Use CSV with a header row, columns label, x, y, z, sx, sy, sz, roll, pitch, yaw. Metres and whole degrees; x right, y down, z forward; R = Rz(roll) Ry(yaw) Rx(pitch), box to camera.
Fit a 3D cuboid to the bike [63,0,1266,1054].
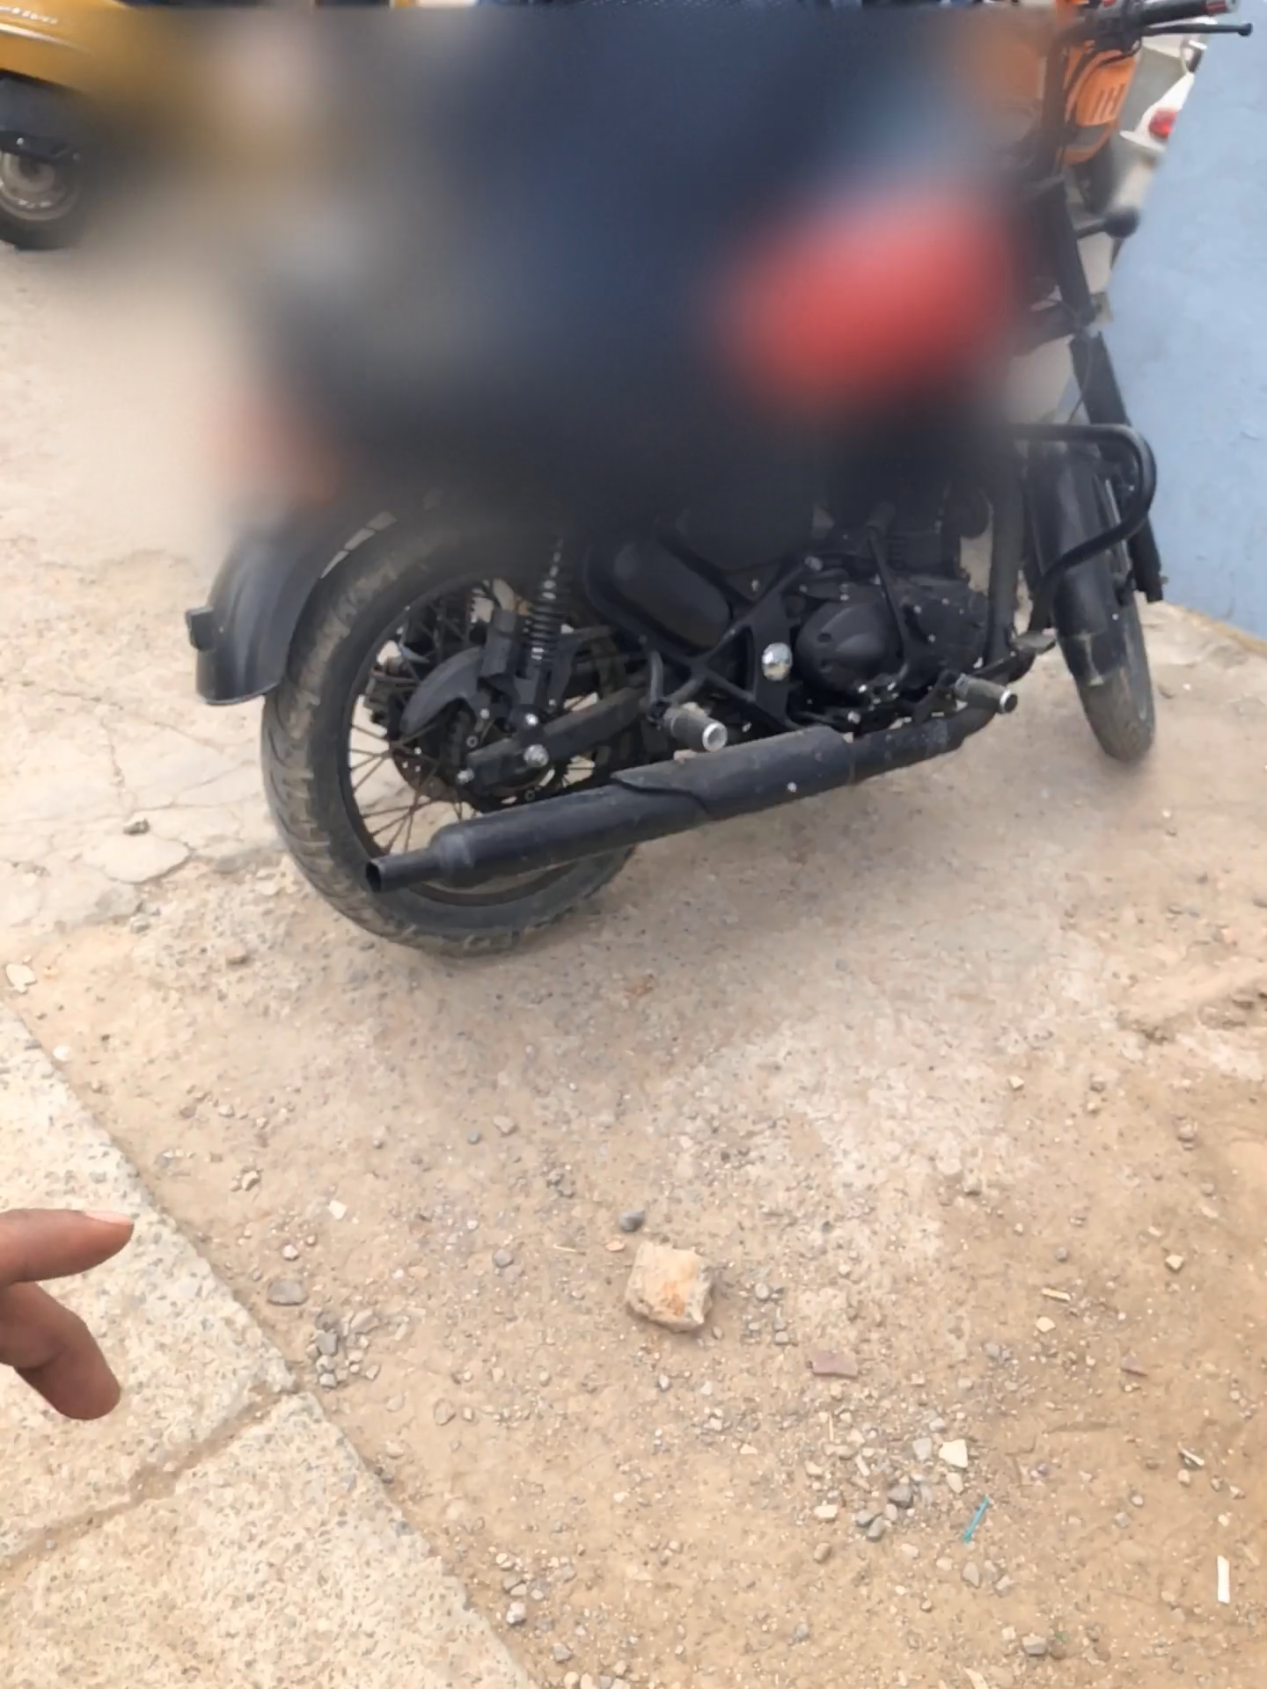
label,x,y,z,sx,sy,sz,roll,pitch,yaw
bike,0.135,-0.752,1.983,1.545,1.246,0.778,-24,51,-32
